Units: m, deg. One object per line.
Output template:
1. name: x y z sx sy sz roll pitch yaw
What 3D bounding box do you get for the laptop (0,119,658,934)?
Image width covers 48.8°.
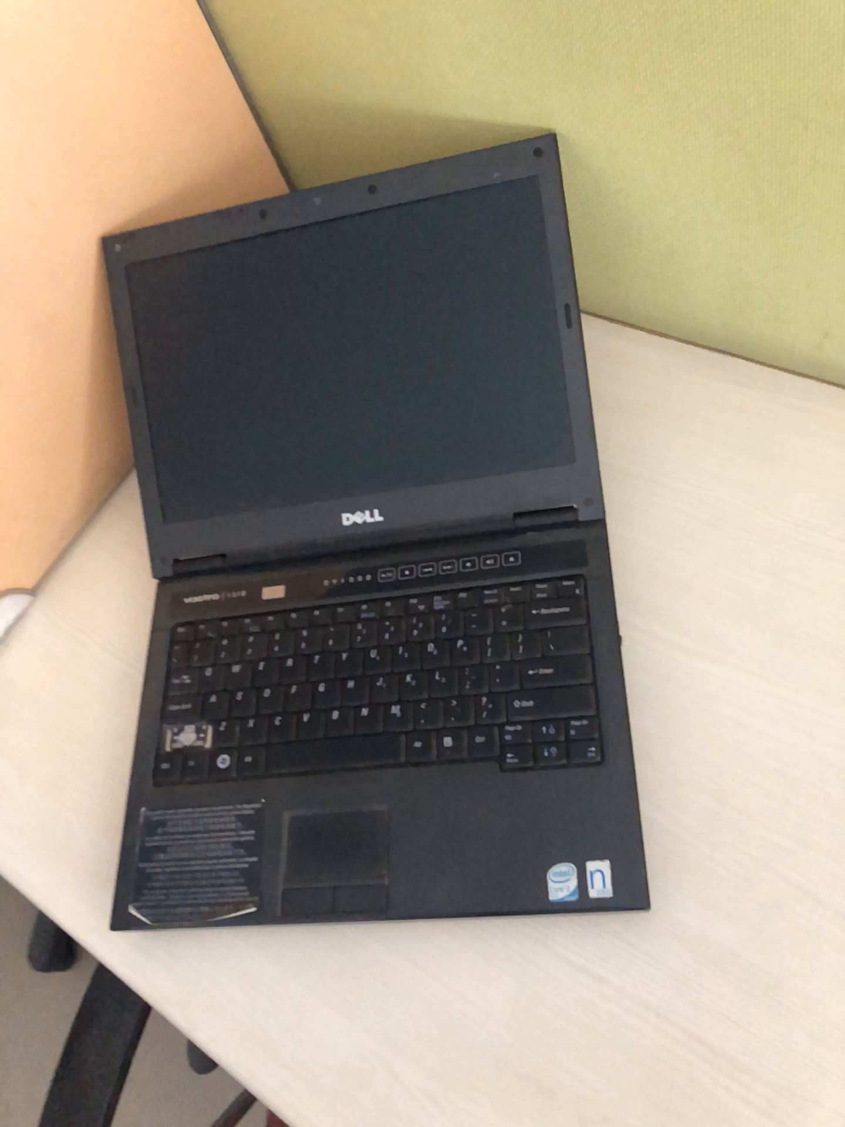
1. laptop: -0.046 -0.027 0.552 0.305 0.125 0.431 -8 61 13
